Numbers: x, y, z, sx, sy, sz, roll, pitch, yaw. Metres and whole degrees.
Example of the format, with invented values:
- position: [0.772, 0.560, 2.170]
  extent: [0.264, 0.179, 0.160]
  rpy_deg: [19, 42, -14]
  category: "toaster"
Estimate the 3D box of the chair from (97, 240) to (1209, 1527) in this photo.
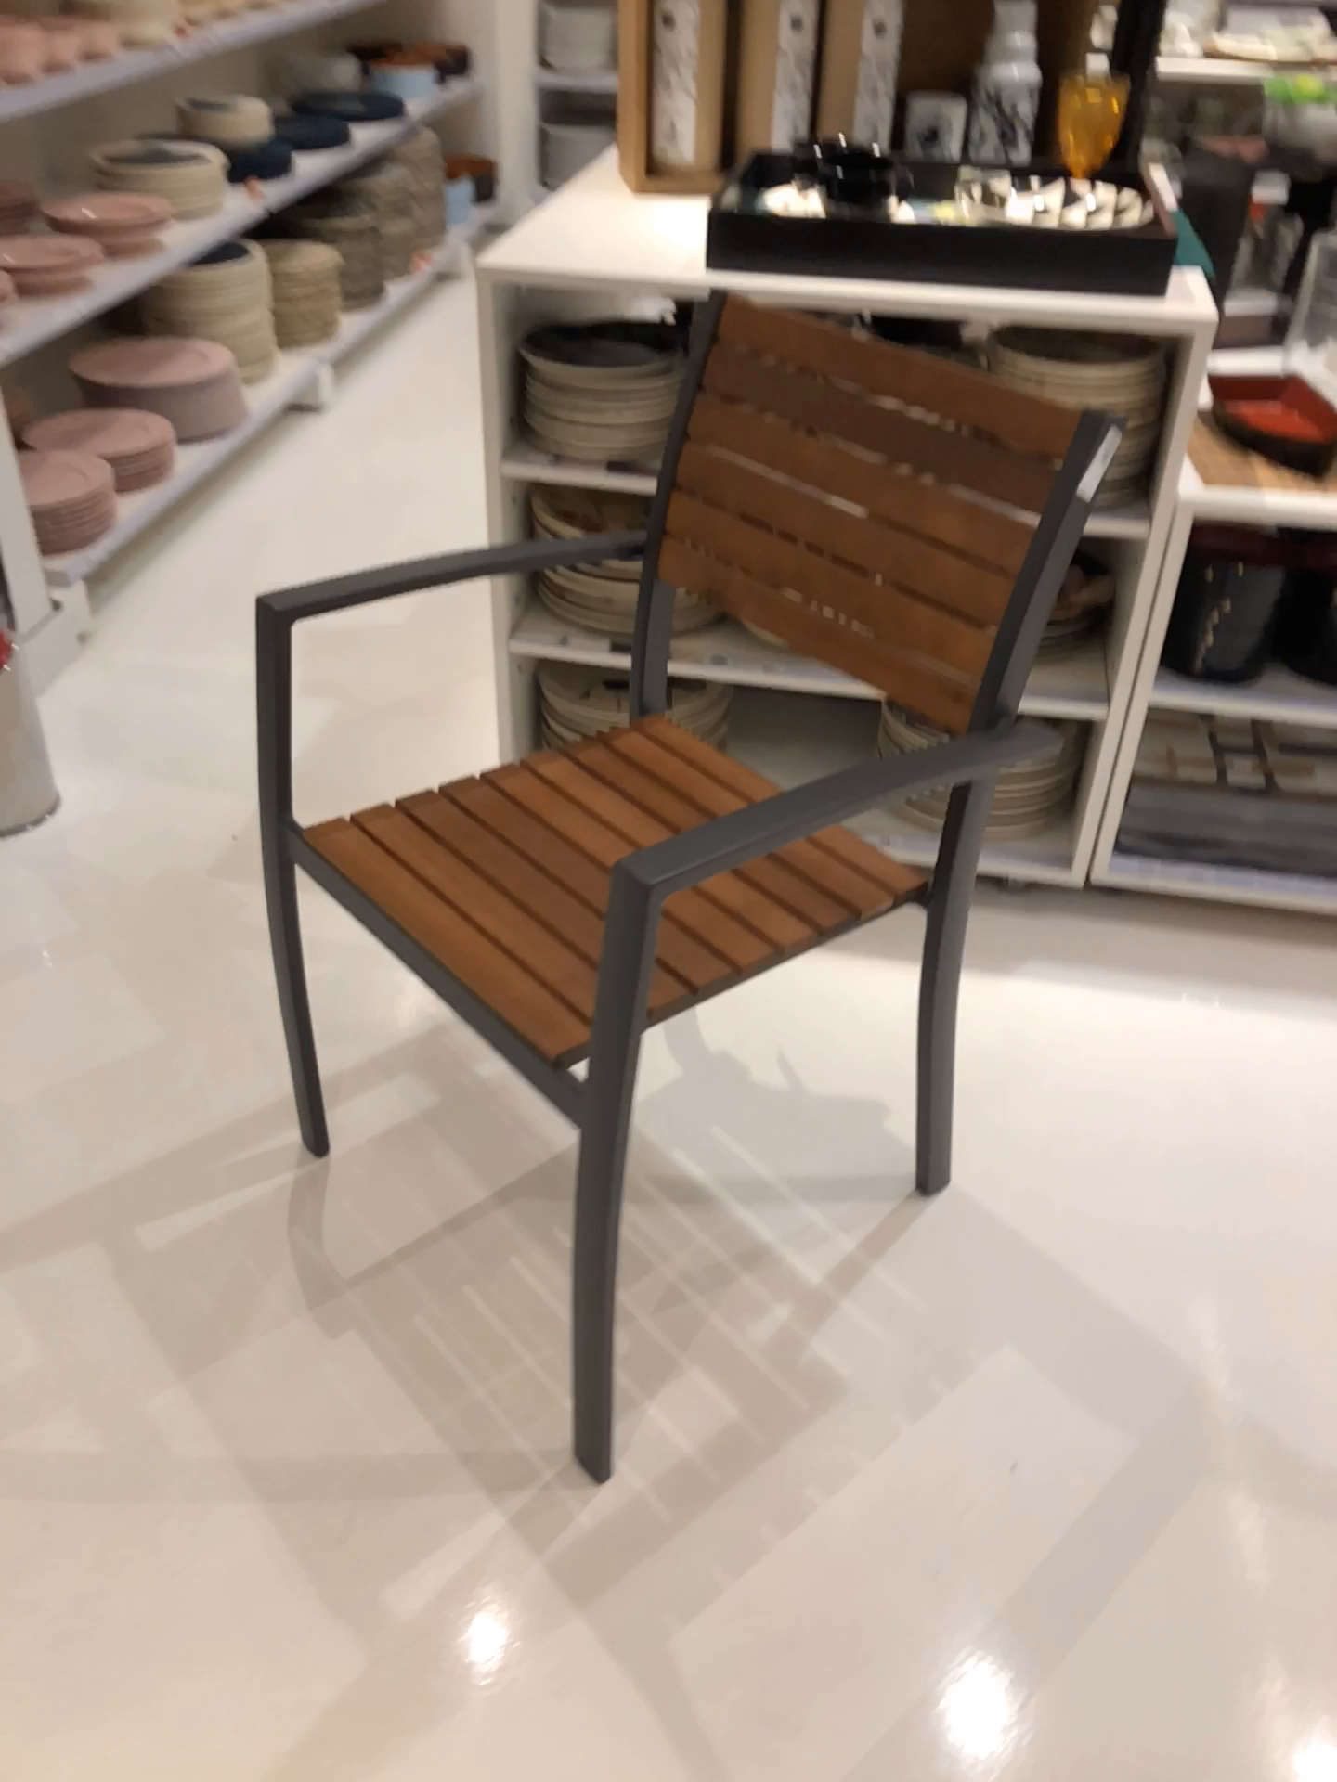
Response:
- position: [-0.034, -0.050, 1.261]
  extent: [0.532, 0.784, 0.593]
  rpy_deg: [-25, 43, -31]
  category: "chair"
